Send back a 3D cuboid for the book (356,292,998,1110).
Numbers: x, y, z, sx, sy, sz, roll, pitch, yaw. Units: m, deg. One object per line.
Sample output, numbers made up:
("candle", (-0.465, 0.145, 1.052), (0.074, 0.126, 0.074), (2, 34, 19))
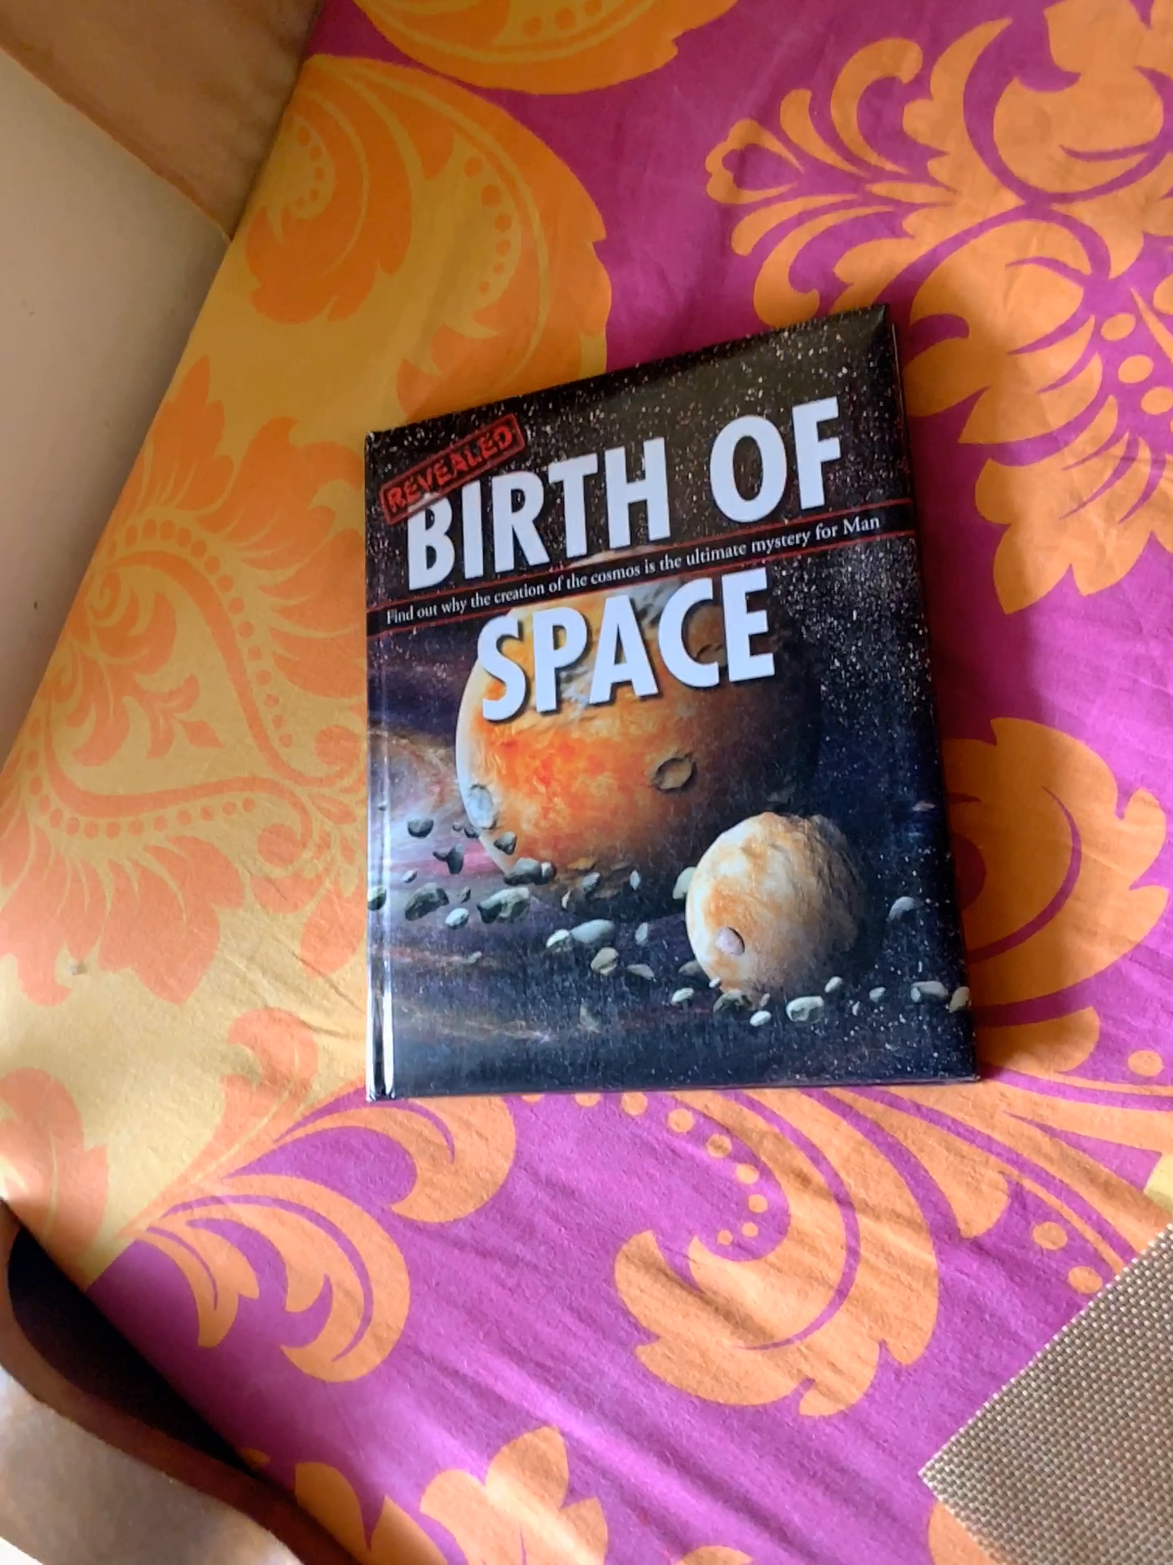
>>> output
("book", (0.017, -0.022, 0.421), (0.211, 0.020, 0.258), (-7, 77, 21))
